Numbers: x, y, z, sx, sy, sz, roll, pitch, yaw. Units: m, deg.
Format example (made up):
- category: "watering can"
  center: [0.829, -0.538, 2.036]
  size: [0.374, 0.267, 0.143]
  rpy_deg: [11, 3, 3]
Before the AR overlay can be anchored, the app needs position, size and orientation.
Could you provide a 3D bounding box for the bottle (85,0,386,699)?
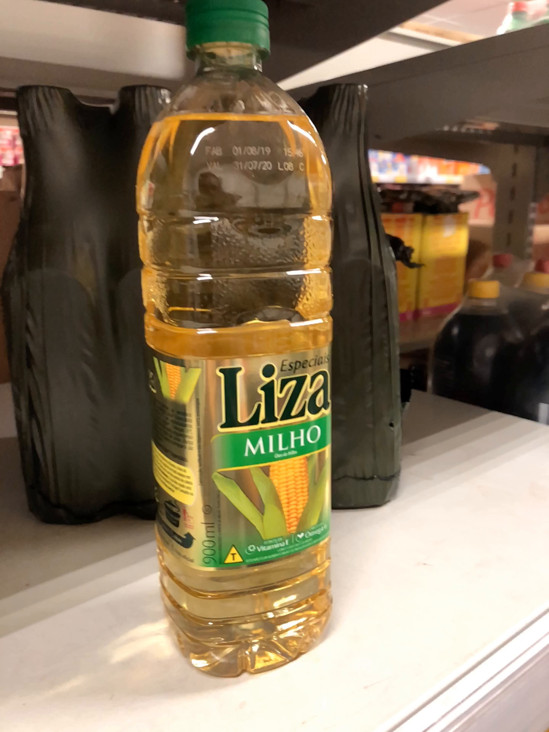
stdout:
- category: "bottle"
  center: [-0.014, -0.012, 0.240]
  size: [0.080, 0.249, 0.070]
  rpy_deg: [-9, 17, -27]
